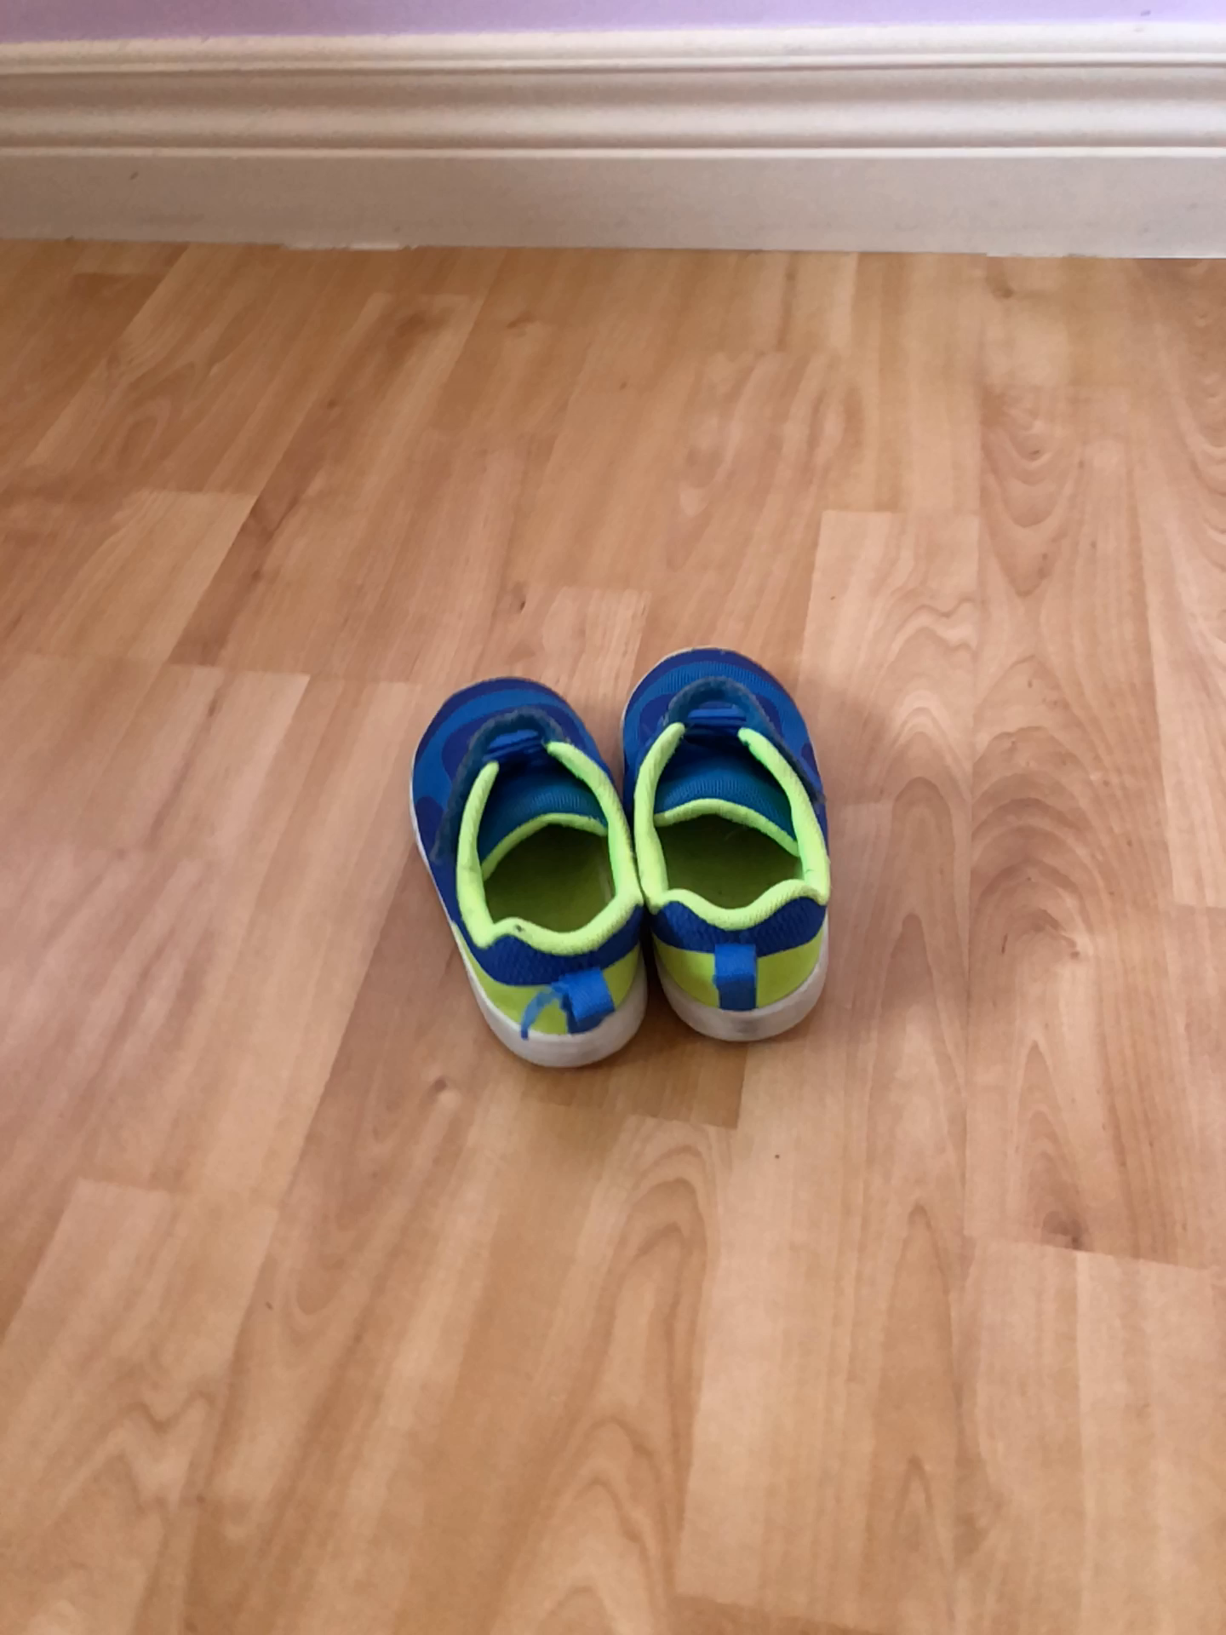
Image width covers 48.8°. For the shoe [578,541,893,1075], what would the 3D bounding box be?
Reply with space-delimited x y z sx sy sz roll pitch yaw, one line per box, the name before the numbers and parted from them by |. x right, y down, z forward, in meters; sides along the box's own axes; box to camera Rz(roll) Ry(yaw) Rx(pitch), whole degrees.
shoe | 0.034 -0.008 0.436 0.080 0.070 0.161 -5 49 2

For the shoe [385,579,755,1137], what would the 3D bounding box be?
shoe | -0.017 0.007 0.440 0.080 0.070 0.161 -14 49 -6
